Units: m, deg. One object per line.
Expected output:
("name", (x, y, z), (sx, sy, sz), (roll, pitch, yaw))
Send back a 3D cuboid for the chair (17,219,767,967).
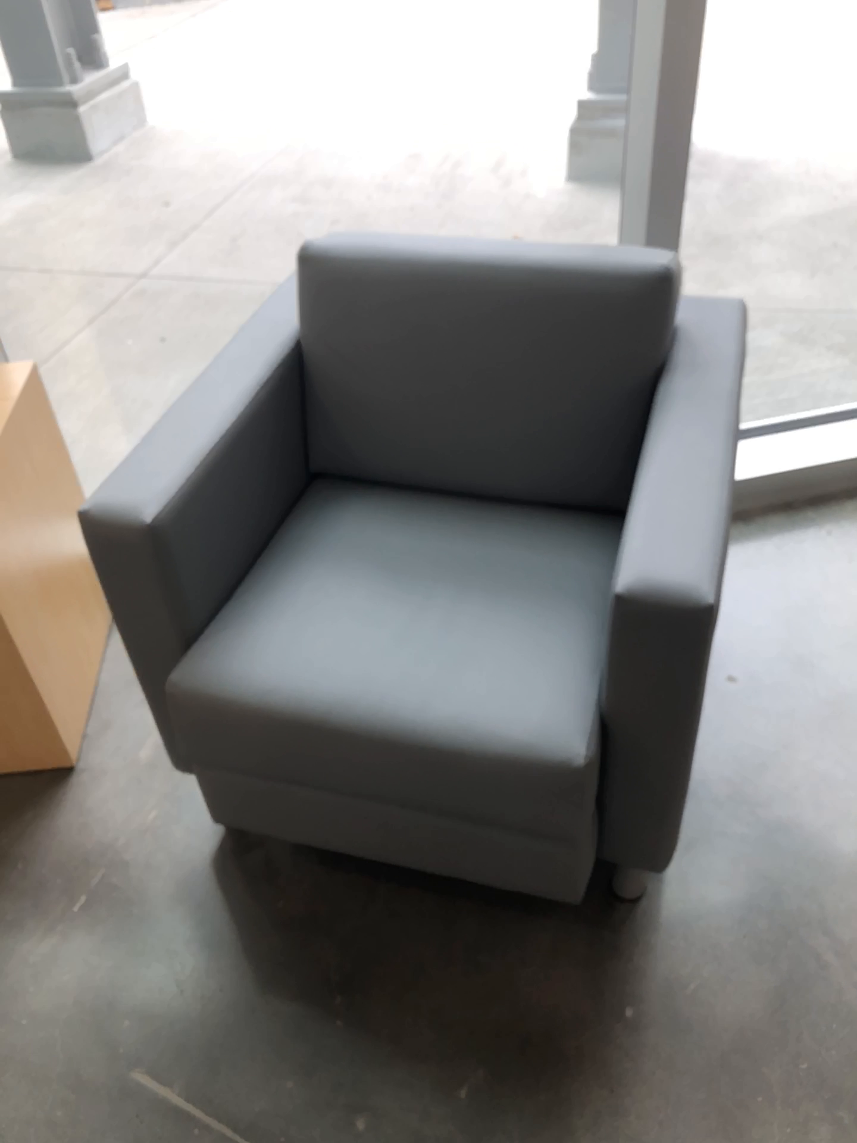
("chair", (0.046, -0.024, 1.450), (0.771, 0.695, 0.785), (8, 43, 14))
